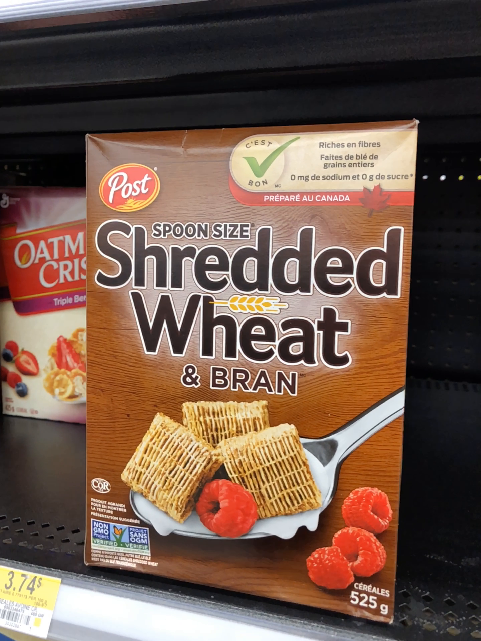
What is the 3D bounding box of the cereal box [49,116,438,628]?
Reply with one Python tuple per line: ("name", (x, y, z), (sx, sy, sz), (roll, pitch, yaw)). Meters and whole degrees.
("cereal box", (-0.004, 0.023, 0.321), (0.210, 0.259, 0.060), (3, 6, 14))
